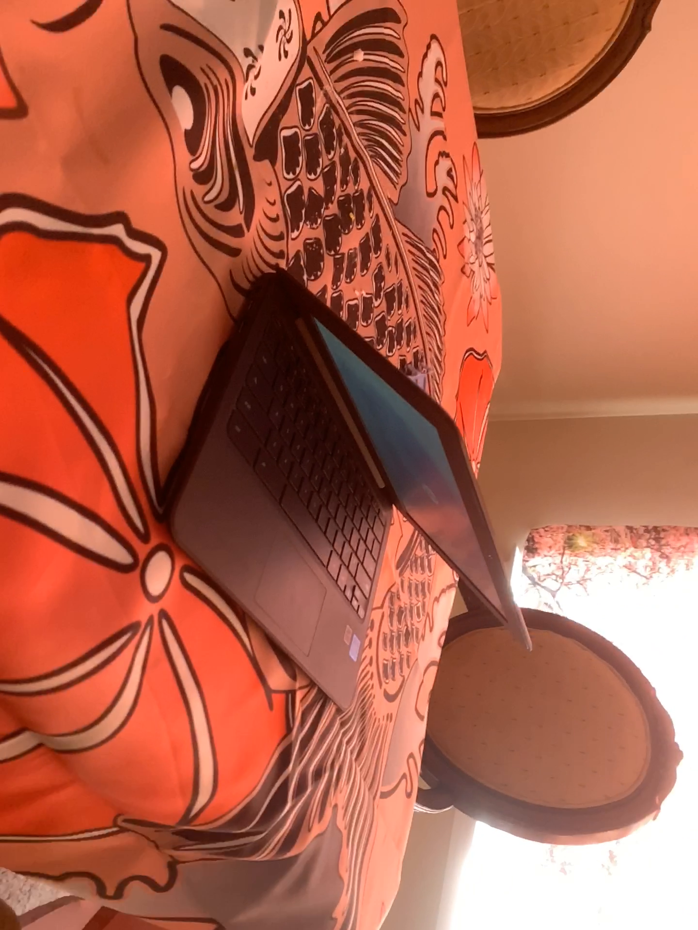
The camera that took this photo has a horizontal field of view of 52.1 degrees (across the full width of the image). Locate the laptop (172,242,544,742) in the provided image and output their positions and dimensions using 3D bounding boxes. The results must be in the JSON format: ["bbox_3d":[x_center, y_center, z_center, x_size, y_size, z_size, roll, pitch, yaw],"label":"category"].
[{"bbox_3d":[0.044,0.038,0.510,0.300,0.144,0.211,62,34,-49],"label":"laptop"}]
